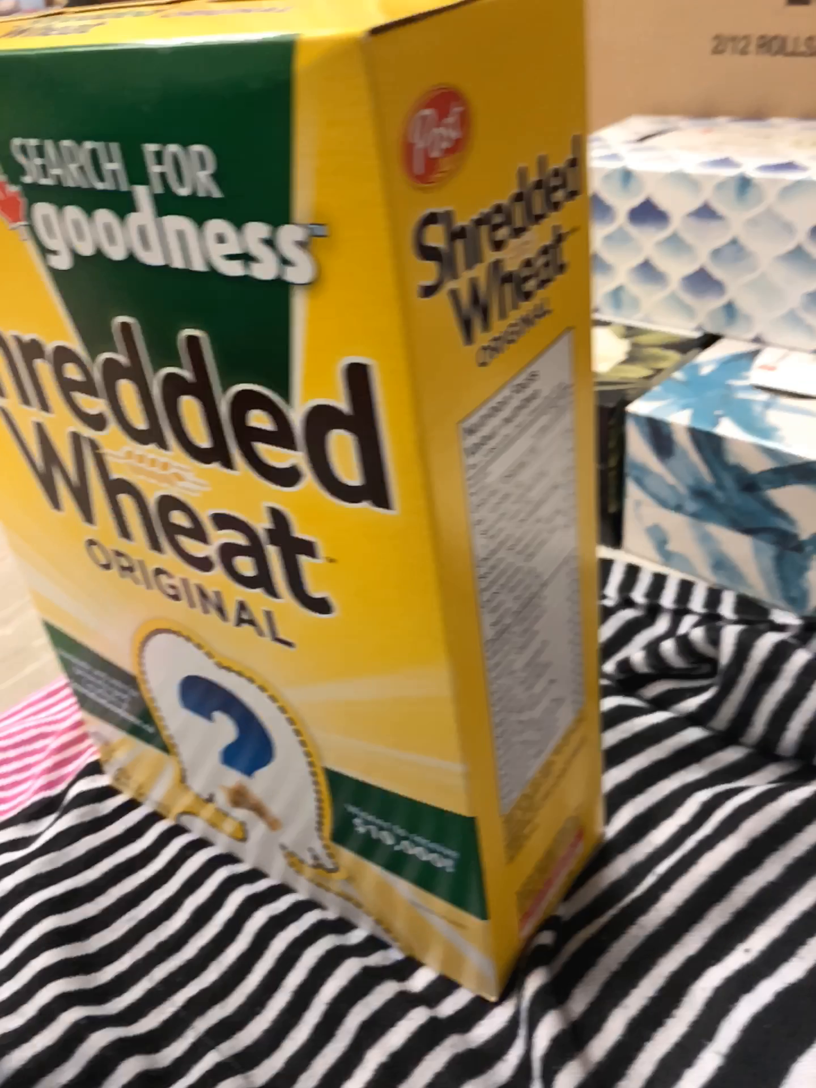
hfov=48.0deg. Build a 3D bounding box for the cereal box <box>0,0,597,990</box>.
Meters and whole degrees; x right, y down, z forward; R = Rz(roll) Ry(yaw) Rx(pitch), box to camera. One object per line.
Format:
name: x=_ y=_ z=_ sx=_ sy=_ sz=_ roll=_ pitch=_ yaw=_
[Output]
cereal box: x=-0.056 y=-0.022 z=0.282 sx=0.210 sy=0.269 sz=0.080 roll=16 pitch=40 yaw=31
